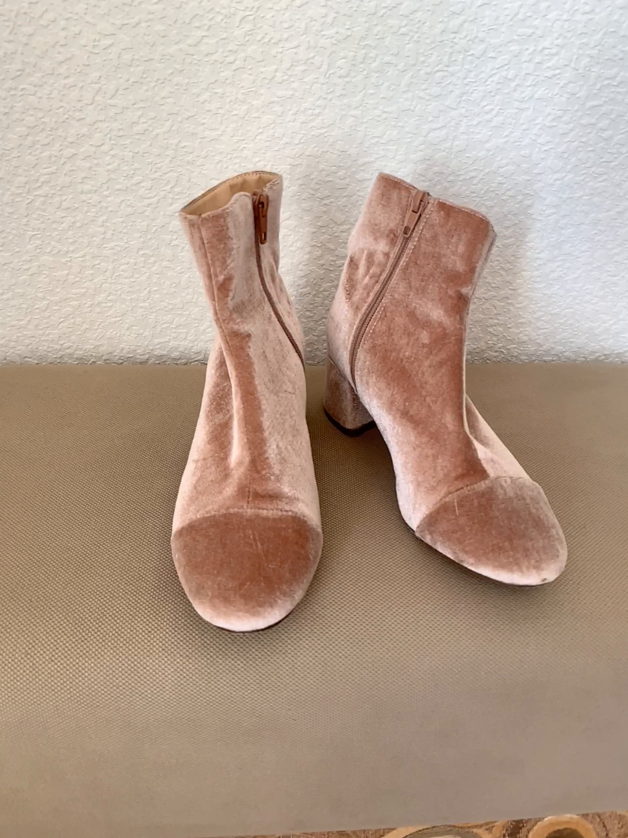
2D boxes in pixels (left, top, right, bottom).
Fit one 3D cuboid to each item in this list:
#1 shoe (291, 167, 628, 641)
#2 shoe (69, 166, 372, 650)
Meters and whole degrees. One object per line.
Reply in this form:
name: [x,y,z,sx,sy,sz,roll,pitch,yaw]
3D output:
shoe: [0.080,-0.037,0.403,0.100,0.169,0.271,-11,35,-19]
shoe: [-0.036,-0.025,0.356,0.100,0.169,0.231,1,33,-2]
